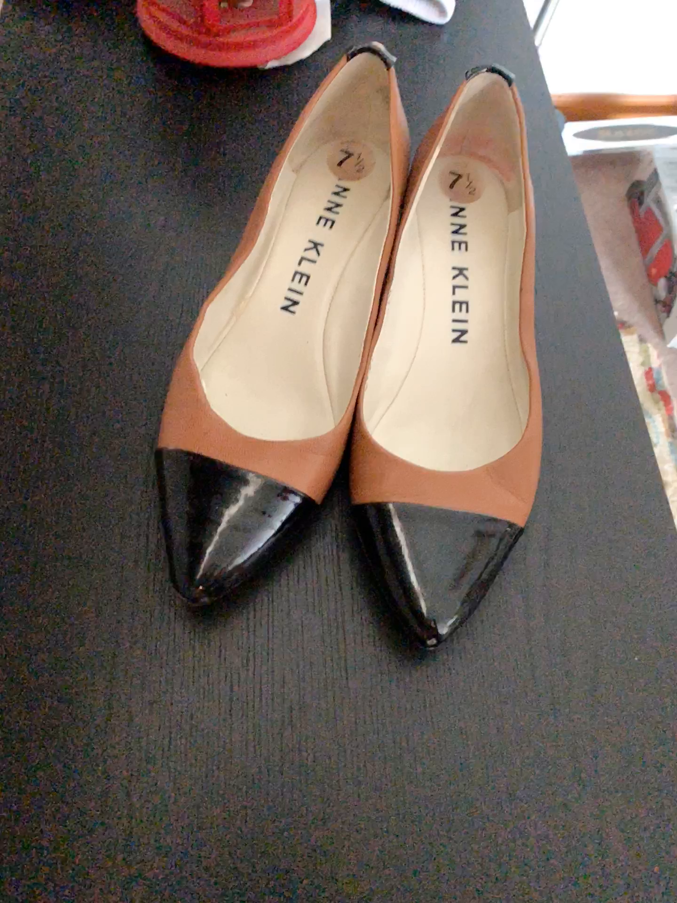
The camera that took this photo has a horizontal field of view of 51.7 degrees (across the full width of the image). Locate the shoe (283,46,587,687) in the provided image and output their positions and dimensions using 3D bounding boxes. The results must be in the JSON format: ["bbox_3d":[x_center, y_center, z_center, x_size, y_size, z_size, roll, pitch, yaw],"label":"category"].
[{"bbox_3d":[0.044,-0.039,0.322,0.090,0.080,0.261,9,79,1],"label":"shoe"}]

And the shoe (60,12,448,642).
[{"bbox_3d":[-0.027,-0.056,0.320,0.080,0.080,0.261,16,77,3],"label":"shoe"}]
